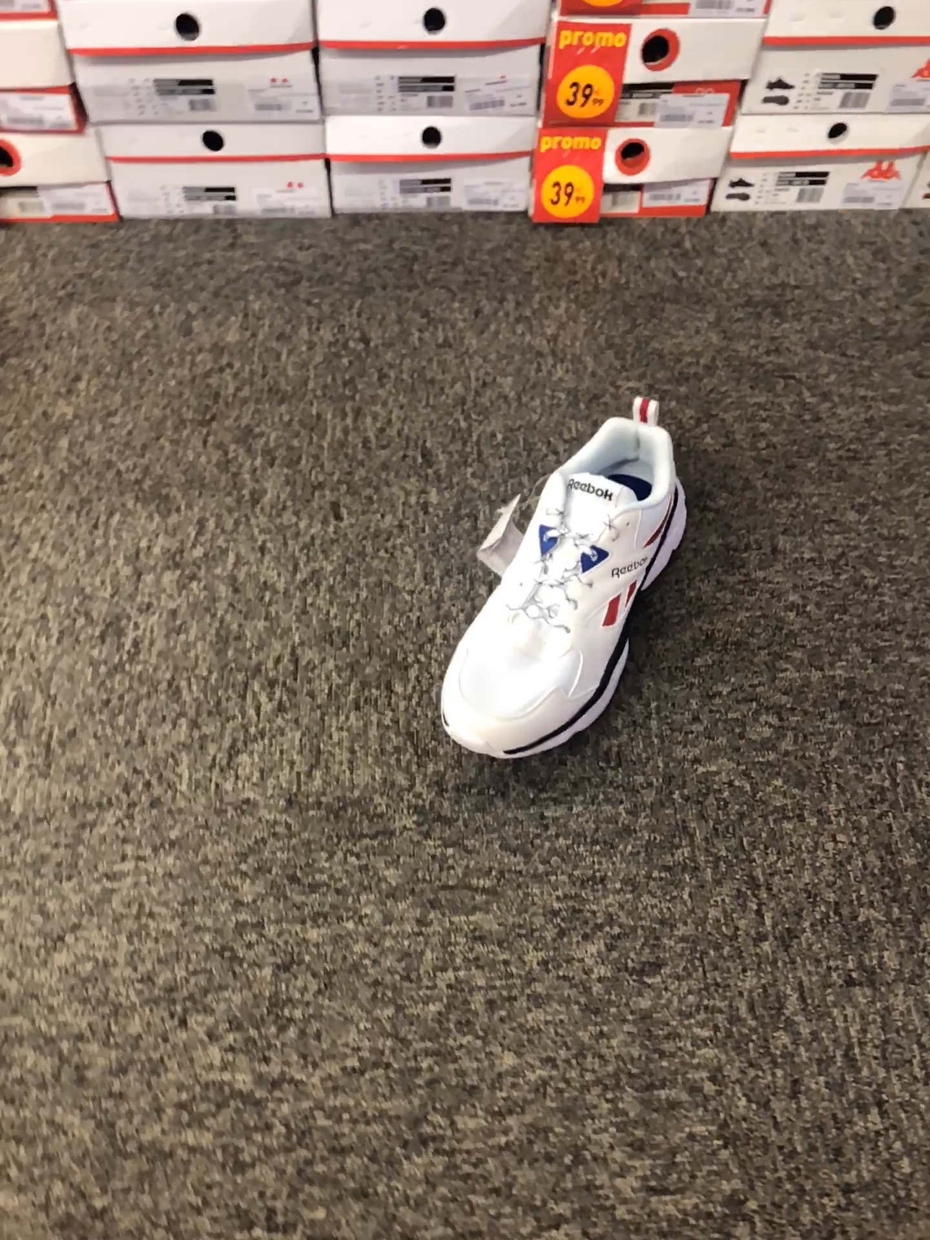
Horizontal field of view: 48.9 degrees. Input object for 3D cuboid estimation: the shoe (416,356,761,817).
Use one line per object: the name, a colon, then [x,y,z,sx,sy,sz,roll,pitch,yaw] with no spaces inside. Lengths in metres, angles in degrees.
shoe: [0.090,-0.033,0.719,0.113,0.110,0.301,25,60,14]
